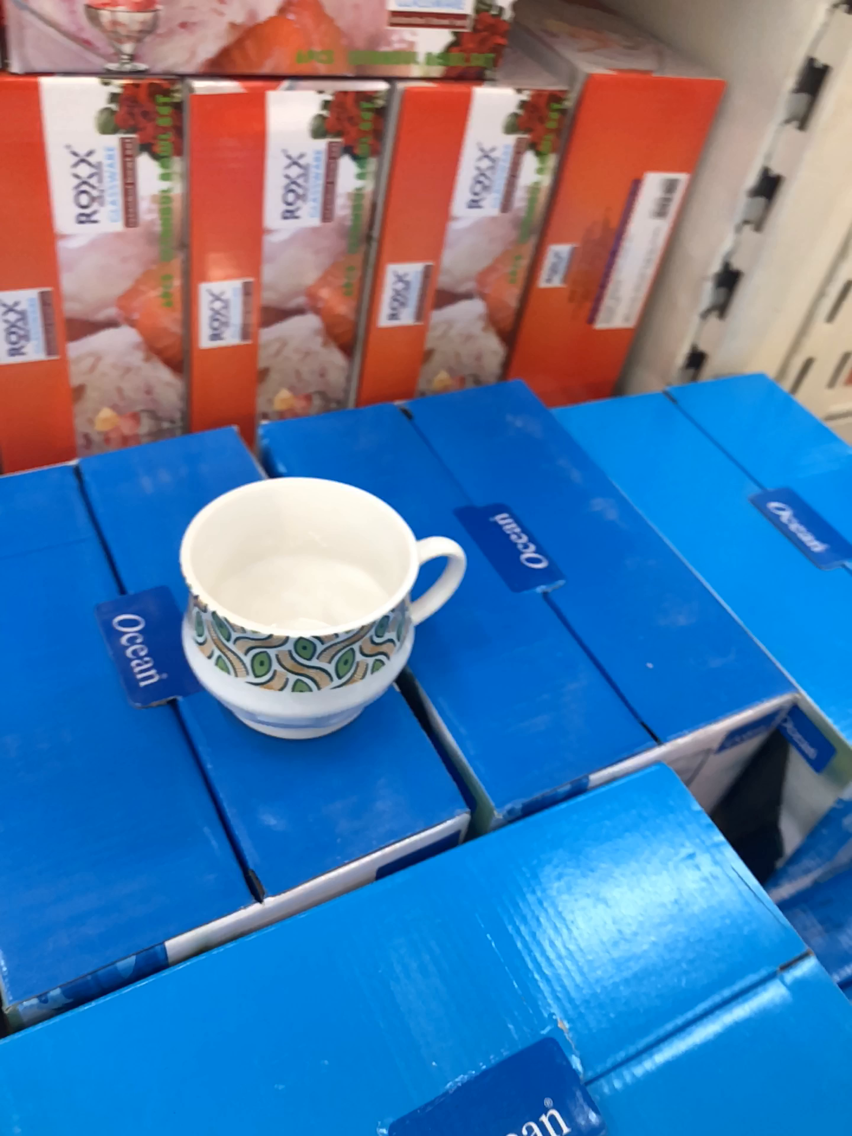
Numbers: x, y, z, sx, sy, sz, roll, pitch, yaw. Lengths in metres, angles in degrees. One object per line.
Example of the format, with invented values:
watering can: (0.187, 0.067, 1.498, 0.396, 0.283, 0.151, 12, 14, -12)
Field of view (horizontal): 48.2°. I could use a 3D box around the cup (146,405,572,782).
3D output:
cup: (-0.023, 0.003, 0.289, 0.100, 0.060, 0.070, -16, 50, -28)
